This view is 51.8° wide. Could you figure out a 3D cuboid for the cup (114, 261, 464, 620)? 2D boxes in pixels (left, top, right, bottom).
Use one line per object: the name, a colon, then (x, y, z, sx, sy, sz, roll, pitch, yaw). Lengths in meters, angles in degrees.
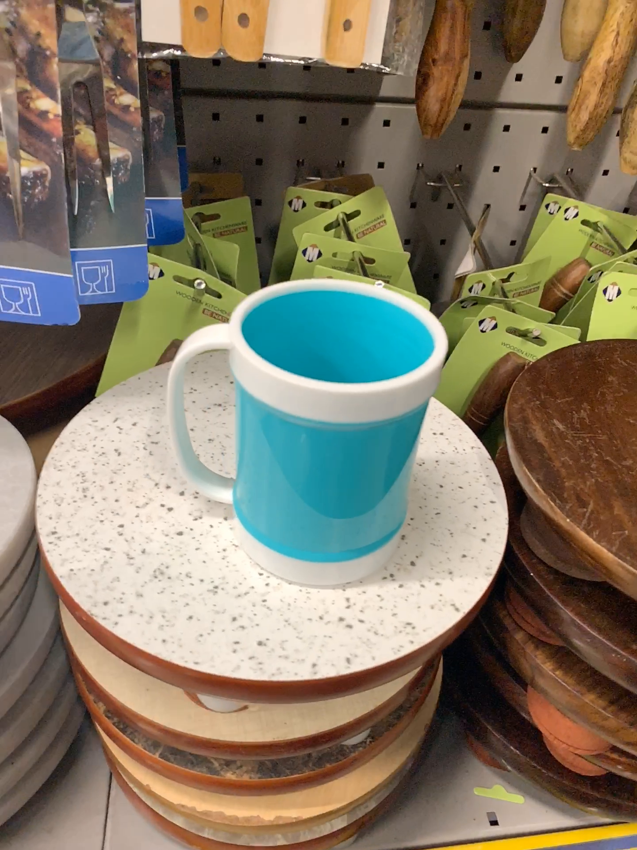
cup: (-0.010, 0.006, 0.269, 0.110, 0.110, 0.080, 6, 37, 2)
